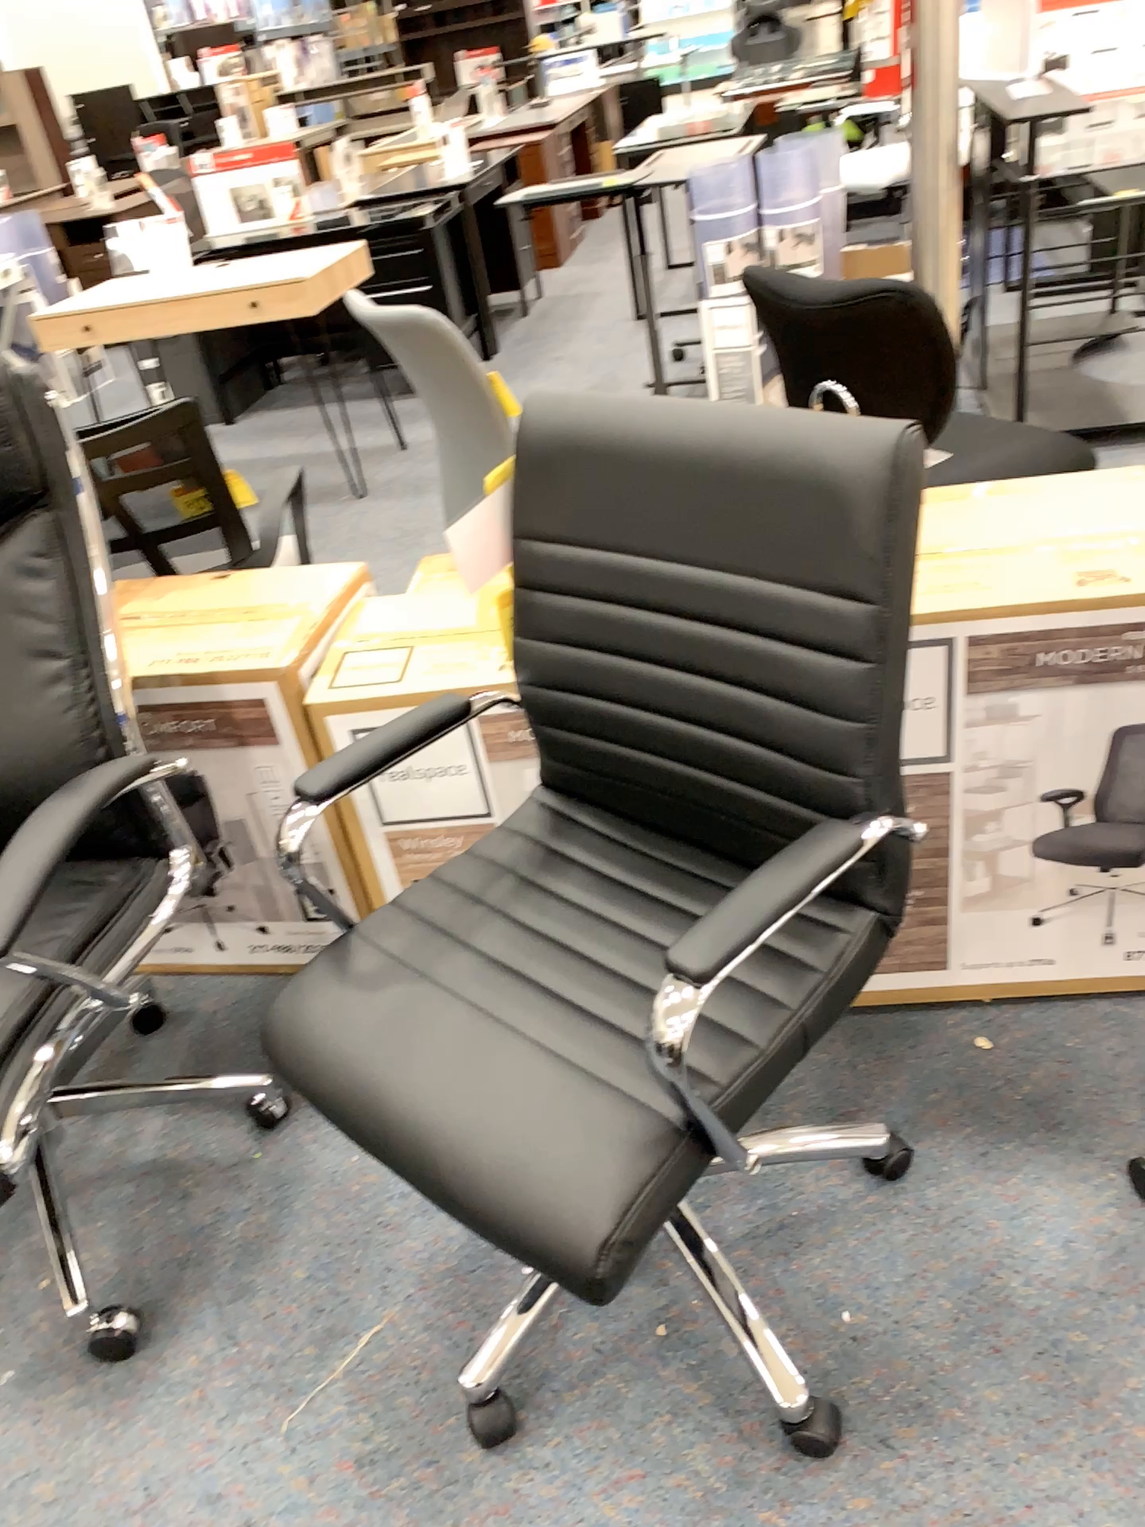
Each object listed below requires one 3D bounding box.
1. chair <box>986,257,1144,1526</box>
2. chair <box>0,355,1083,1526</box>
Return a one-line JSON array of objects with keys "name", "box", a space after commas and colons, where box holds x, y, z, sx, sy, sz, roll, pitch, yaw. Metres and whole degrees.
[{"name": "chair", "box": [0.940, 0.112, 1.094, 0.734, 0.874, 0.723, -19, 33, -12]}, {"name": "chair", "box": [0.021, 0.180, 1.190, 0.656, 0.953, 0.650, 20, 44, 40]}]
